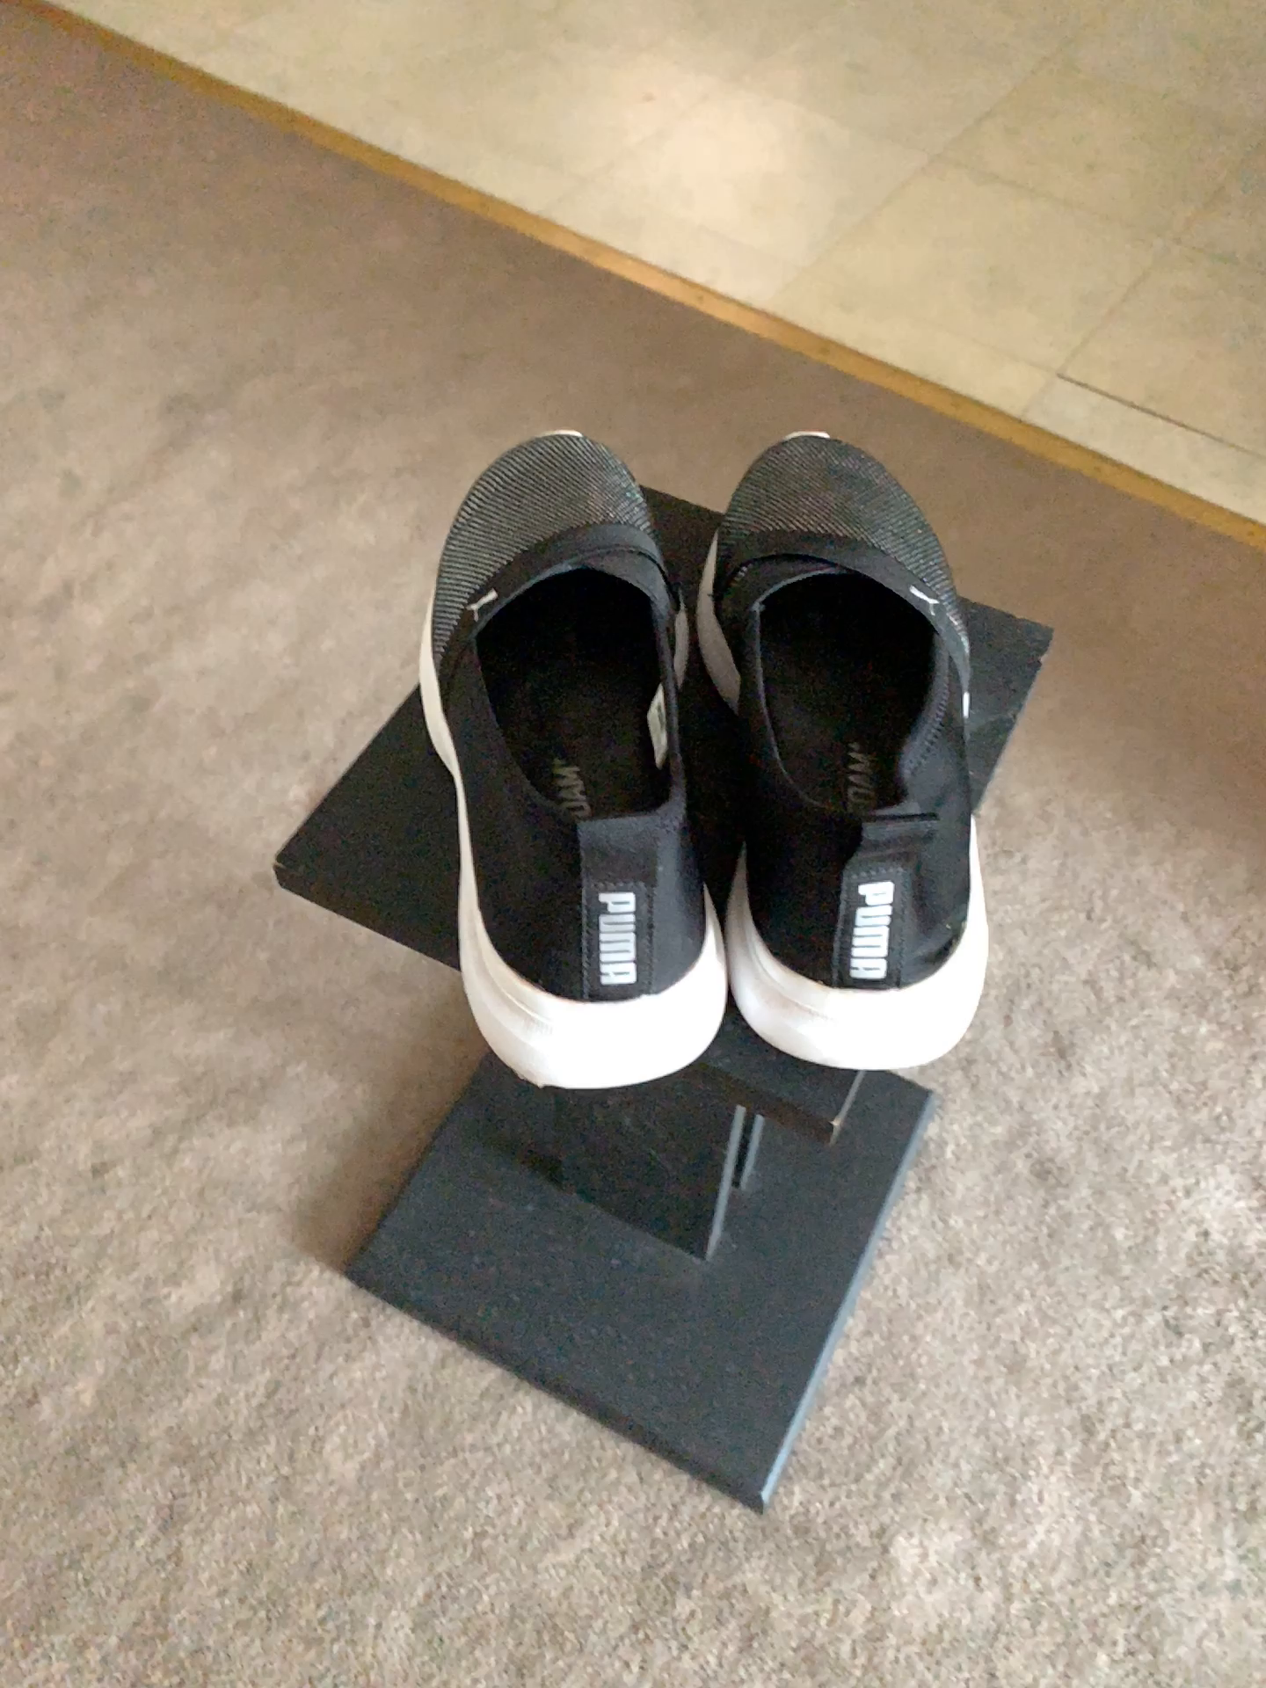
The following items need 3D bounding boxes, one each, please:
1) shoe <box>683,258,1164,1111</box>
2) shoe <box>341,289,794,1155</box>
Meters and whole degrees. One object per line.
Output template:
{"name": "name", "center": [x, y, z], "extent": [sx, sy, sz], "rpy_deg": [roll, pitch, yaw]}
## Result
{"name": "shoe", "center": [0.069, -0.060, 0.406], "extent": [0.100, 0.099, 0.262], "rpy_deg": [1, 55, 0]}
{"name": "shoe", "center": [-0.025, -0.049, 0.403], "extent": [0.100, 0.099, 0.258], "rpy_deg": [-3, 55, -3]}
